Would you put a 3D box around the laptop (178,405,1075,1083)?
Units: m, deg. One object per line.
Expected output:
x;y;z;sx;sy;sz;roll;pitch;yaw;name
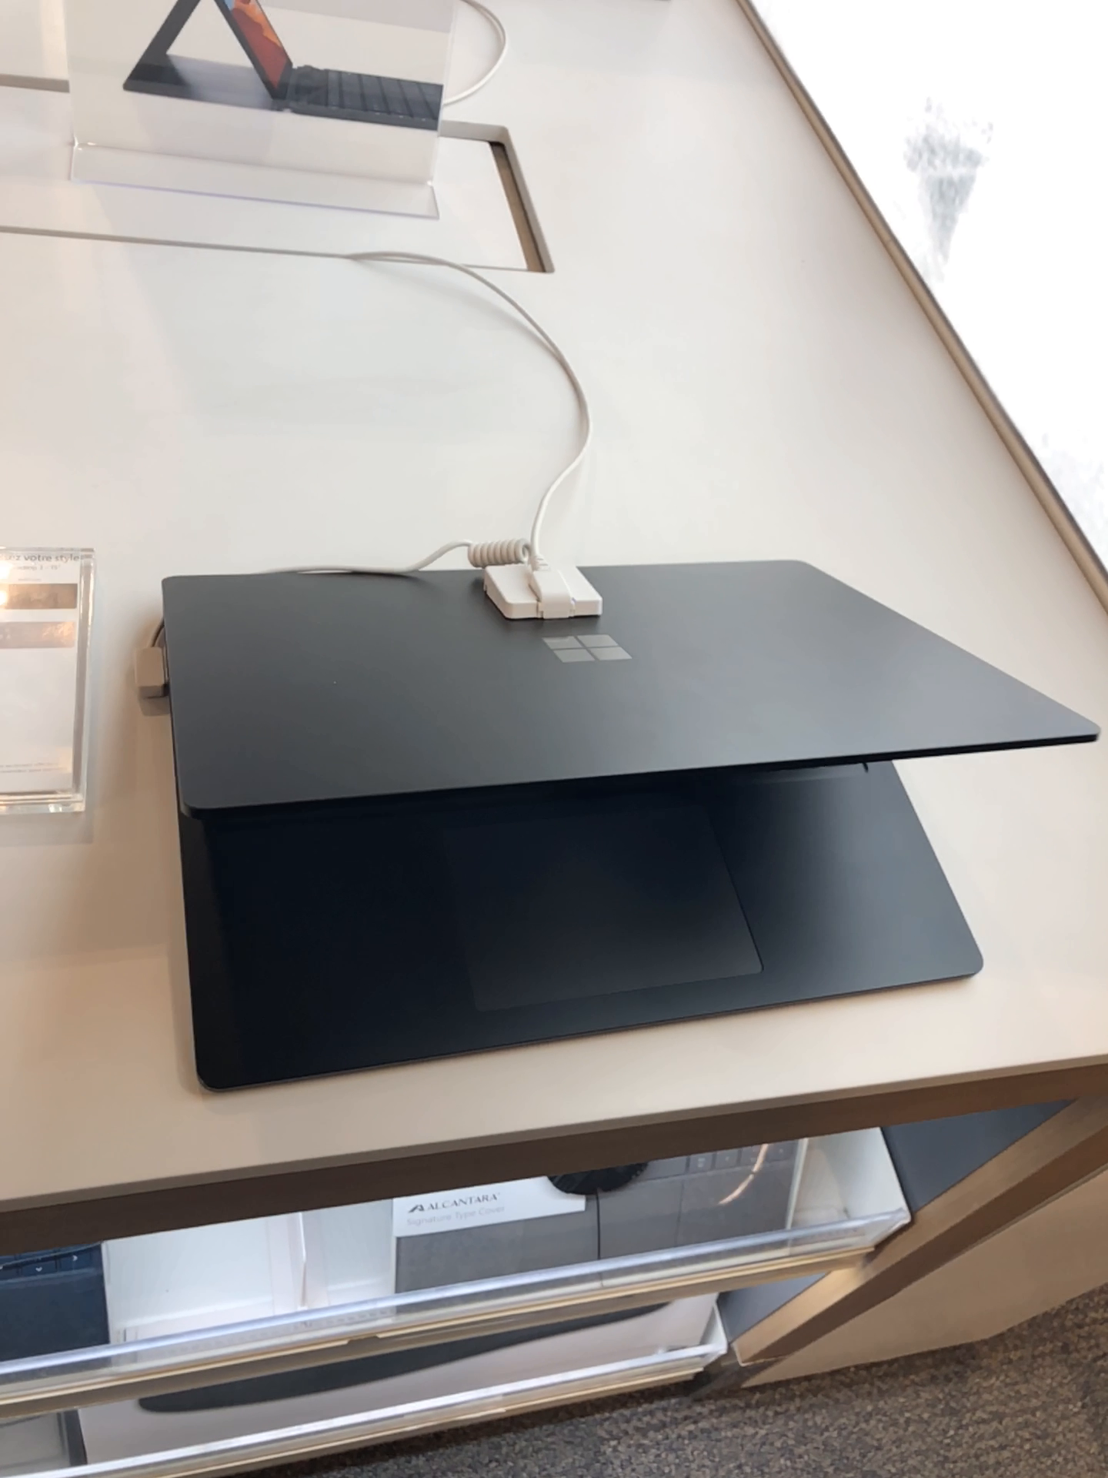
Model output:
0.018;-0.012;0.445;0.284;0.086;0.191;-4;62;-19;laptop
